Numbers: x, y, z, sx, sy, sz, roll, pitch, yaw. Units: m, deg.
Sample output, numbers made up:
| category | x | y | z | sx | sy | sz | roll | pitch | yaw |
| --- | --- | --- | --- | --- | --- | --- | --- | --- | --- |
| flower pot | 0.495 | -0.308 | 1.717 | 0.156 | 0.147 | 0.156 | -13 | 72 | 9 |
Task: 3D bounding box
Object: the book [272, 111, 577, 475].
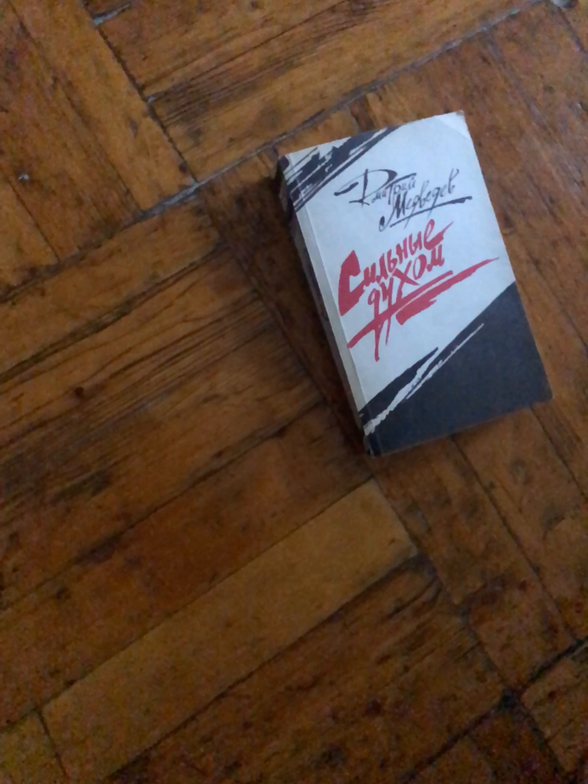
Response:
| category | x | y | z | sx | sy | sz | roll | pitch | yaw |
| --- | --- | --- | --- | --- | --- | --- | --- | --- | --- |
| book | 0.088 | -0.067 | 0.455 | 0.140 | 0.050 | 0.210 | -19 | 90 | -10 |
